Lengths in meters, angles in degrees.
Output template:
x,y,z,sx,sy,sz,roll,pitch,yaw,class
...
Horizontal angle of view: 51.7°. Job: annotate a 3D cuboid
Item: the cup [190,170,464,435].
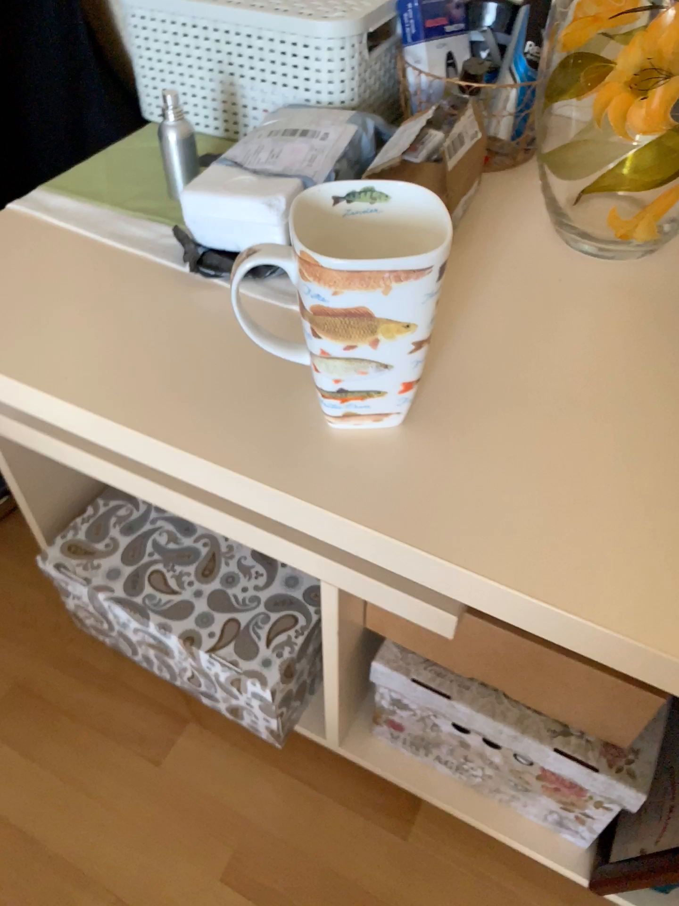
x,y,z,sx,sy,sz,roll,pitch,yaw,class
-0.010,-0.091,0.428,0.138,0.121,0.092,-4,47,-4,cup
